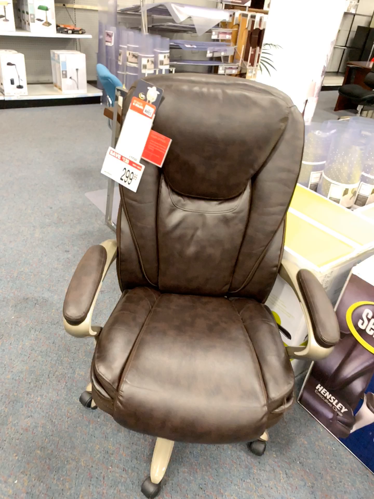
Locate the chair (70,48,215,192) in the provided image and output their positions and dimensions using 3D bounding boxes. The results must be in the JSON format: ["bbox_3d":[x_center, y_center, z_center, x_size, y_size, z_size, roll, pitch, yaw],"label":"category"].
[{"bbox_3d":[-0.396,-1.076,3.115,0.826,0.856,0.793,-13,38,-28],"label":"chair"}]

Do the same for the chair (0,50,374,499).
[{"bbox_3d":[0.012,0.091,1.213,0.781,1.104,0.848,8,34,1],"label":"chair"}]
